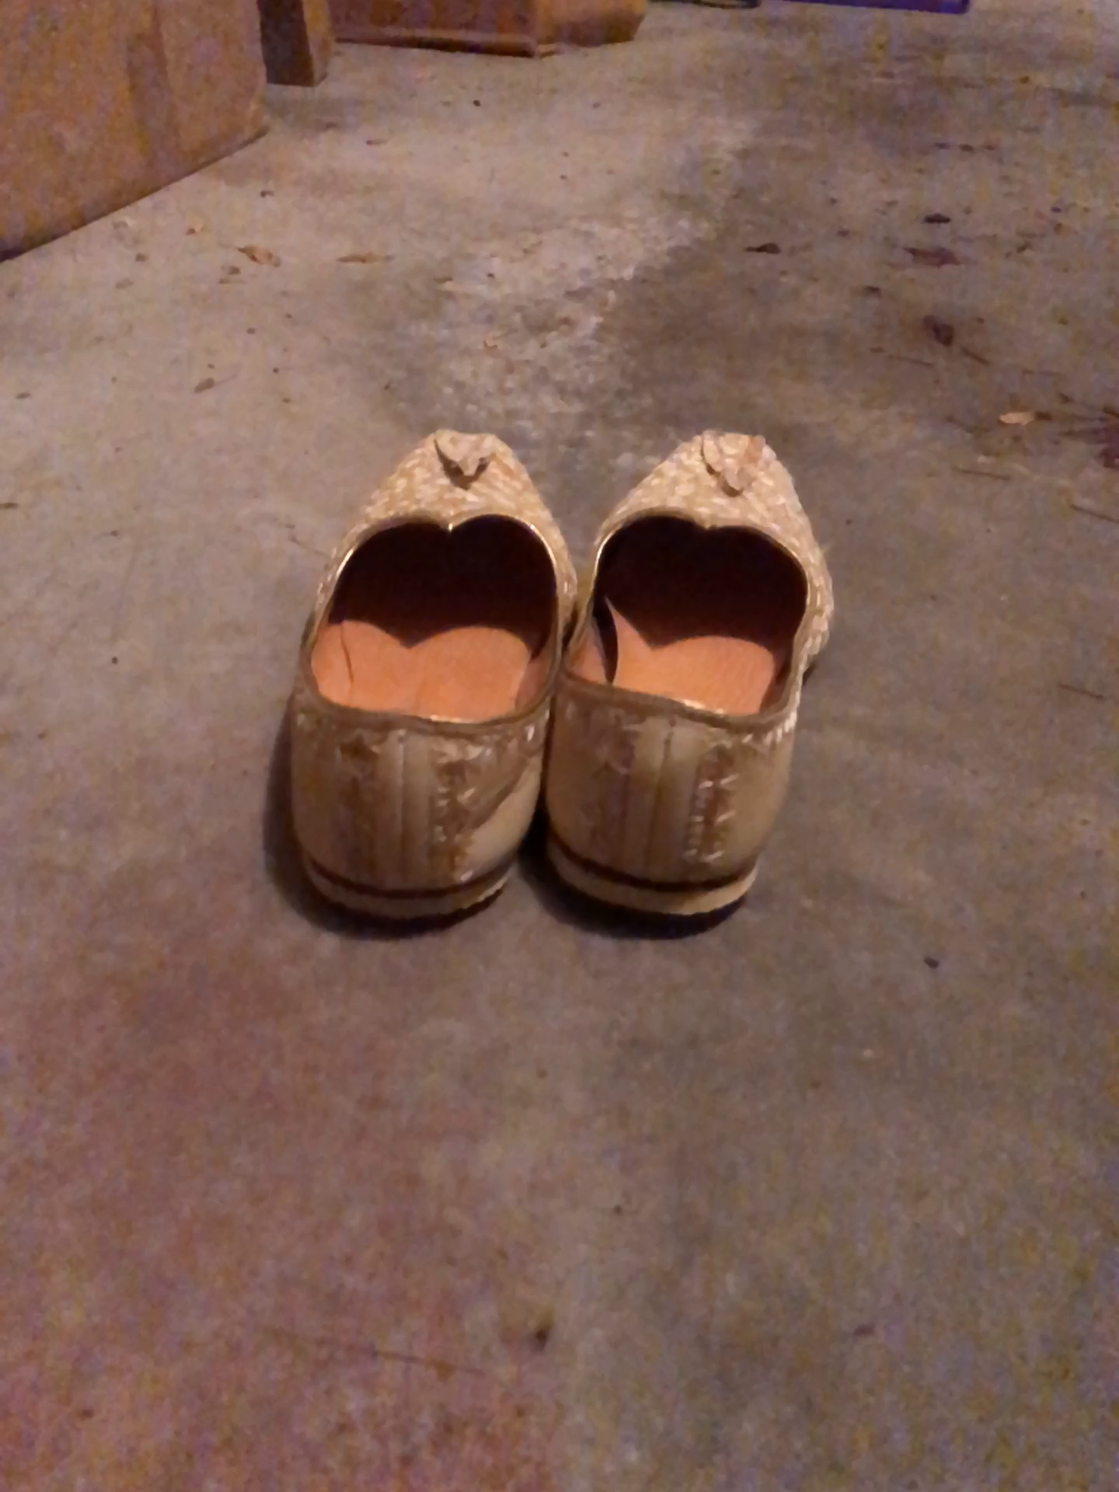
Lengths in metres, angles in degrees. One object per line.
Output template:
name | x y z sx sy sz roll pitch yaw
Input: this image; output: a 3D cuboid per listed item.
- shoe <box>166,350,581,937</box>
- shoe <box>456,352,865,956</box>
shoe | -0.046 -0.058 0.440 0.104 0.073 0.276 2 36 -1
shoe | 0.050 -0.057 0.442 0.104 0.073 0.276 9 36 8
